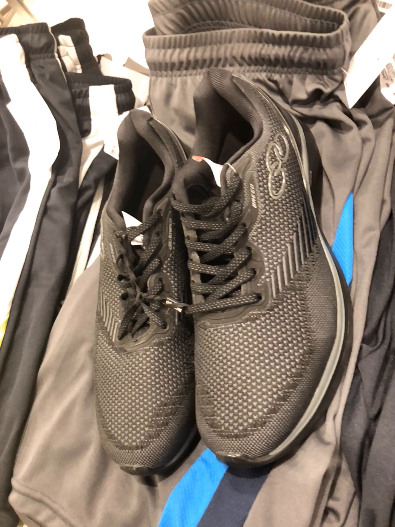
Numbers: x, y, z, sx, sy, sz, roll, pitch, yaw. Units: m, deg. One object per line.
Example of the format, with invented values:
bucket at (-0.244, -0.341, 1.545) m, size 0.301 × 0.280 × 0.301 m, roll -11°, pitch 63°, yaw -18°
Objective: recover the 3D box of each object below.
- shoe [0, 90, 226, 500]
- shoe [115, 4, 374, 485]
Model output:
shoe at (-0.052, 0.018, 0.330) m, size 0.100 × 0.099 × 0.271 m, roll -10°, pitch 59°, yaw 28°
shoe at (0.040, -0.018, 0.287) m, size 0.100 × 0.099 × 0.281 m, roll -10°, pitch 59°, yaw 28°
